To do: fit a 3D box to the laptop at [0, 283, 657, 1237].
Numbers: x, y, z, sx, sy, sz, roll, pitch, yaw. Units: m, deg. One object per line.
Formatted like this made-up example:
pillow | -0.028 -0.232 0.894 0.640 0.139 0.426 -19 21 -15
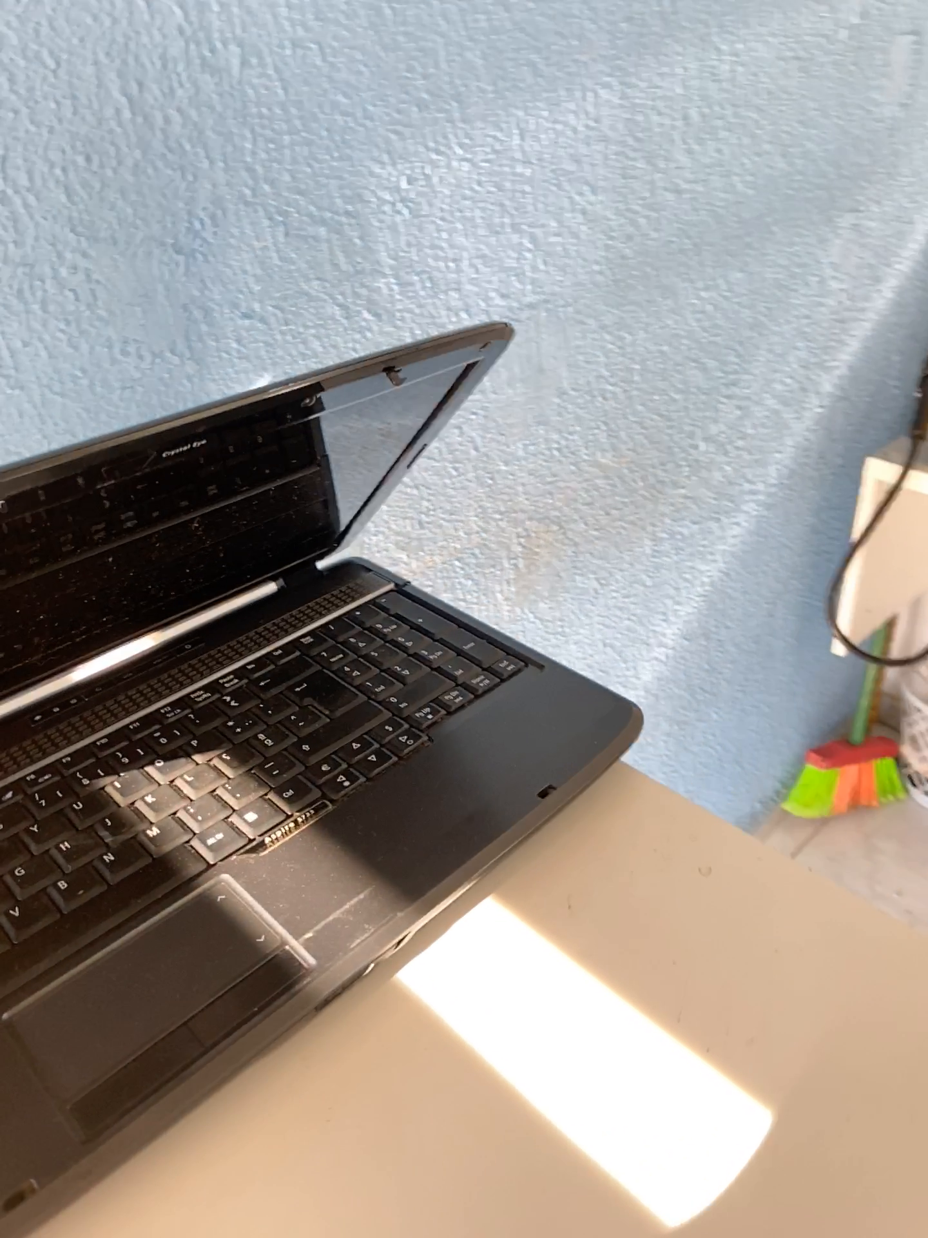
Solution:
laptop | -0.131 0.005 0.385 0.379 0.174 0.236 -29 39 -36
